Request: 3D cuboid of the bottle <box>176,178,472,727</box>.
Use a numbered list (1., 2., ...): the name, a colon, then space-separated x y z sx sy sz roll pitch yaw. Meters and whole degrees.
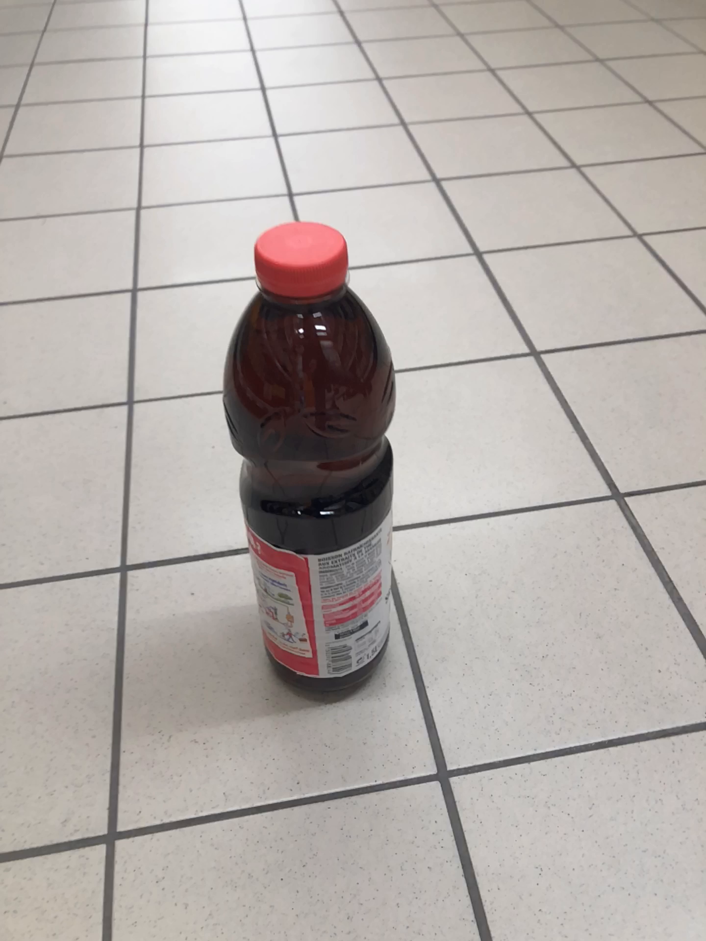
1. bottle: -0.013 0.009 0.428 0.090 0.288 0.100 -20 47 -19
